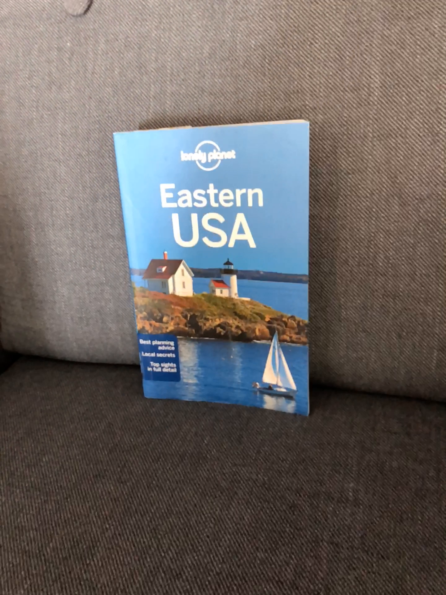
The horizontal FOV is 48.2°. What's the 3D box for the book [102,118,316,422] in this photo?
[{"bbox_3d":[-0.005,-0.018,0.355,0.134,0.200,0.039,3,20,20],"label":"book"}]
